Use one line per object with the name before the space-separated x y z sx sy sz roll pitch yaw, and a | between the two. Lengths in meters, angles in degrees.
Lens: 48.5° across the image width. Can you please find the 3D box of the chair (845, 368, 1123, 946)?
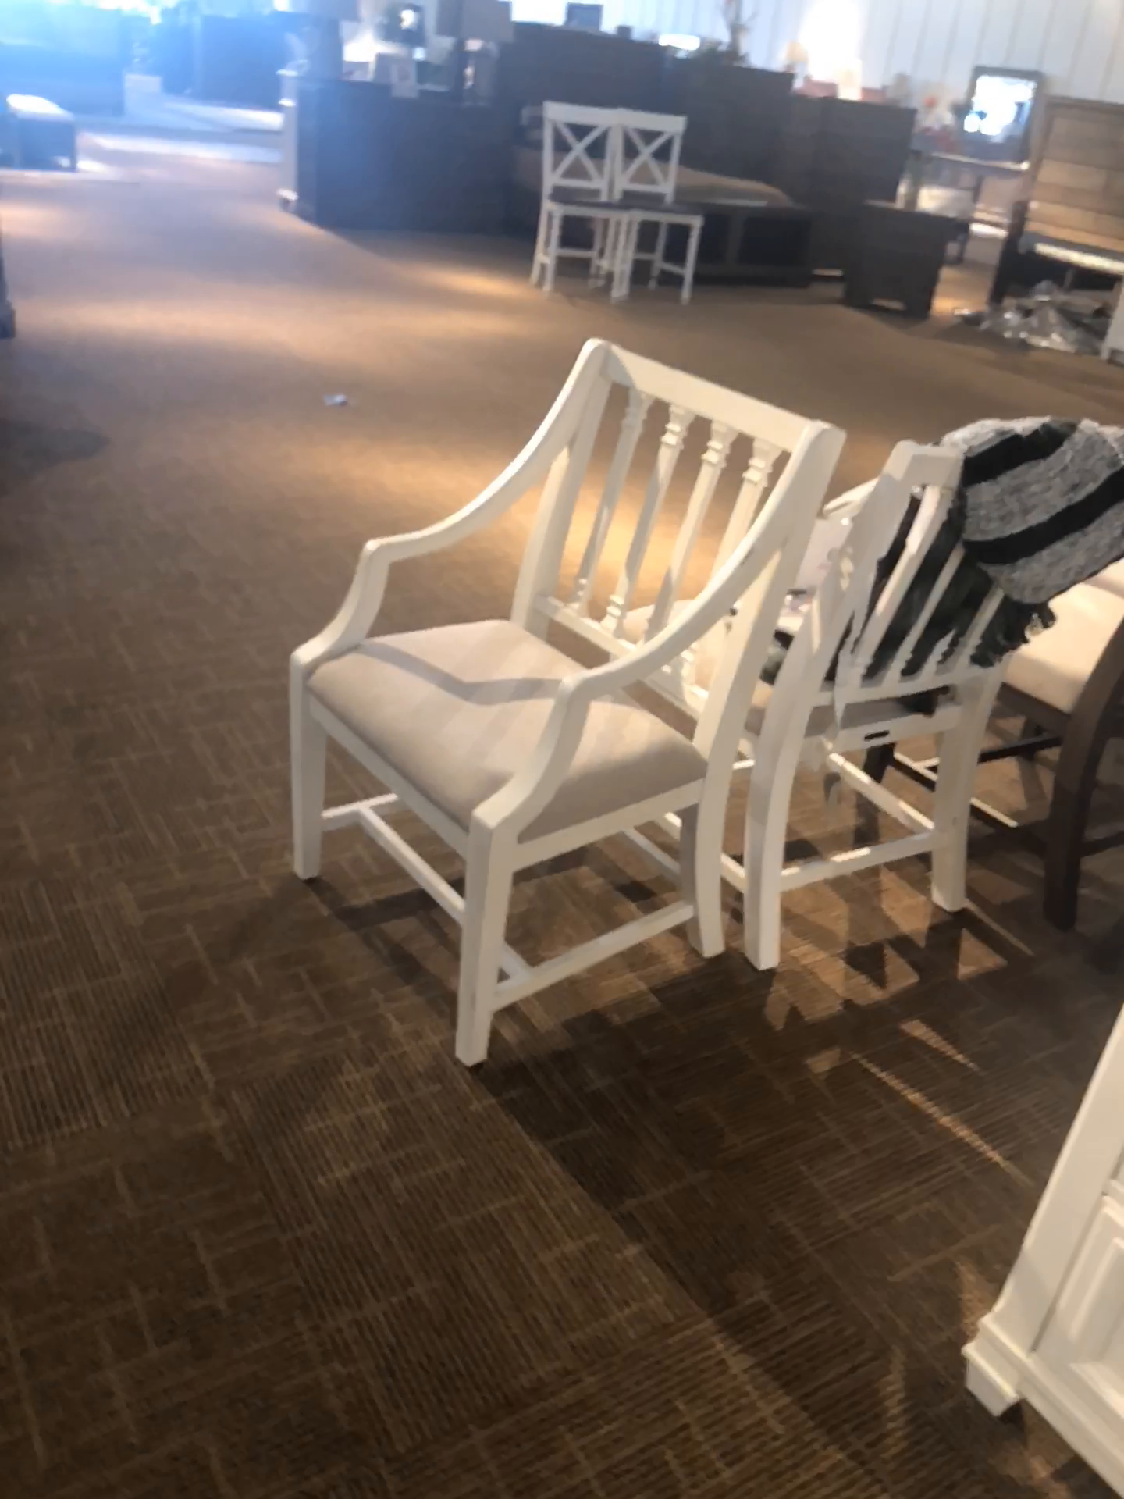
chair | 1.095 -0.219 2.422 0.682 0.886 0.582 -9 32 -29

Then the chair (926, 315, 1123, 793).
chair | 1.403 -0.480 2.994 0.601 0.955 0.542 -7 31 -25

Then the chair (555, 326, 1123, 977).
chair | 0.436 -0.210 2.185 0.561 0.886 0.642 -9 32 -29

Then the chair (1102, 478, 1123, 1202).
chair | 1.576 0.088 2.089 0.872 0.886 0.602 -9 32 -28

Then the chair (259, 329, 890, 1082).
chair | -0.051 -0.124 1.939 0.632 0.886 0.652 -11 33 -31
